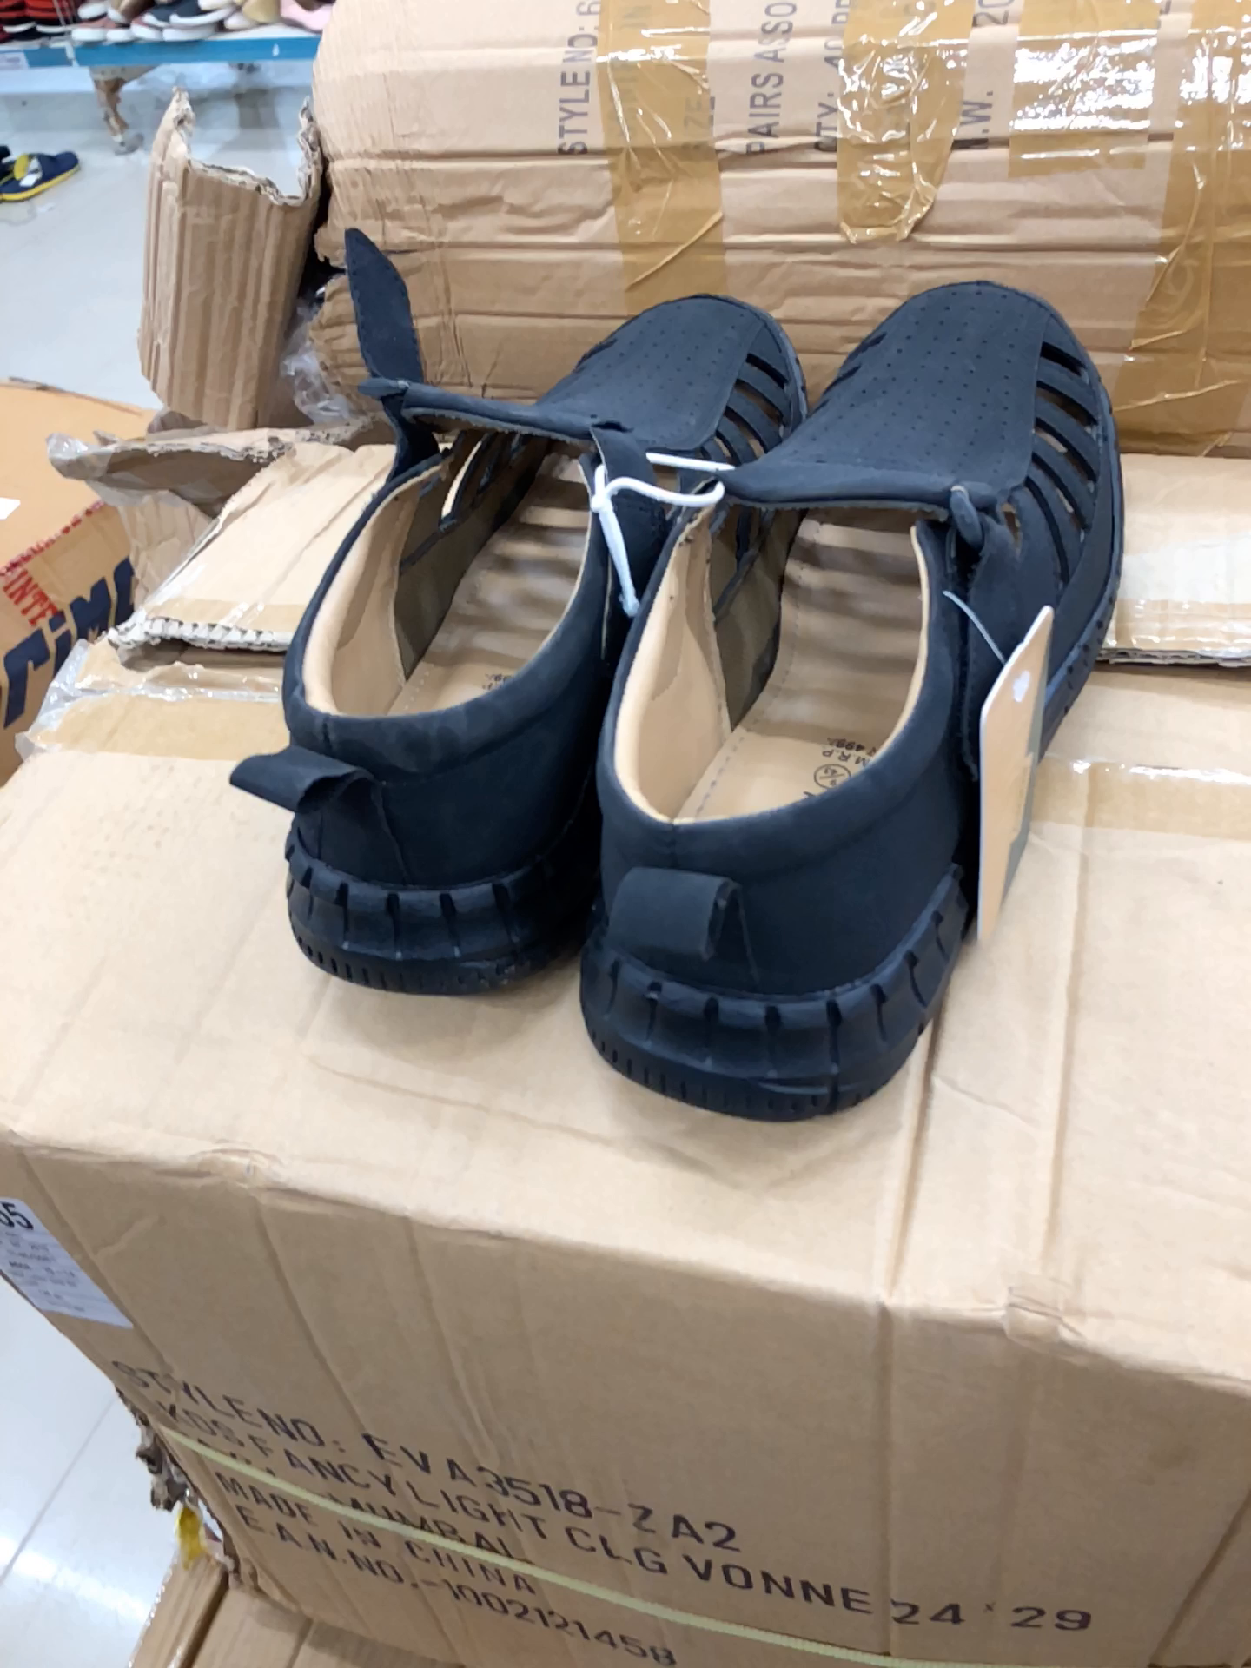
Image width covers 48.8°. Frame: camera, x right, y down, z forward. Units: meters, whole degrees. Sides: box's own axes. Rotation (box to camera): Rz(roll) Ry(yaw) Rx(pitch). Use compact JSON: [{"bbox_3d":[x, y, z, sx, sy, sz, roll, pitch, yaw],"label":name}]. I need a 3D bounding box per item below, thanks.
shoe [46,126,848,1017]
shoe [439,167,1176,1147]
[{"bbox_3d":[-0.018,-0.097,0.391,0.110,0.099,0.282,7,46,17],"label":"shoe"},{"bbox_3d":[0.067,-0.071,0.358,0.100,0.099,0.272,11,47,20],"label":"shoe"}]
